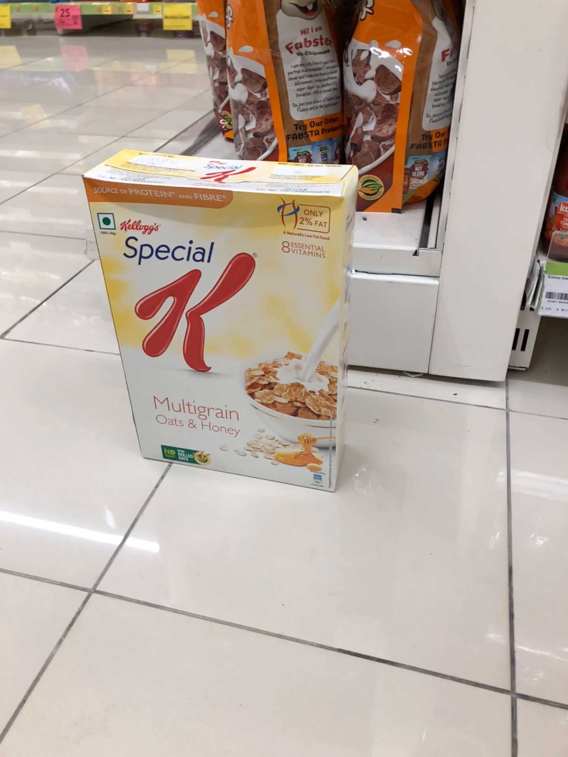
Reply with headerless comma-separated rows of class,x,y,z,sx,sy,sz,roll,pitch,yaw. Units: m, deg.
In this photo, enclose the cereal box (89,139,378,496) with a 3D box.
cereal box,-0.034,-0.042,0.515,0.190,0.268,0.070,9,36,12
